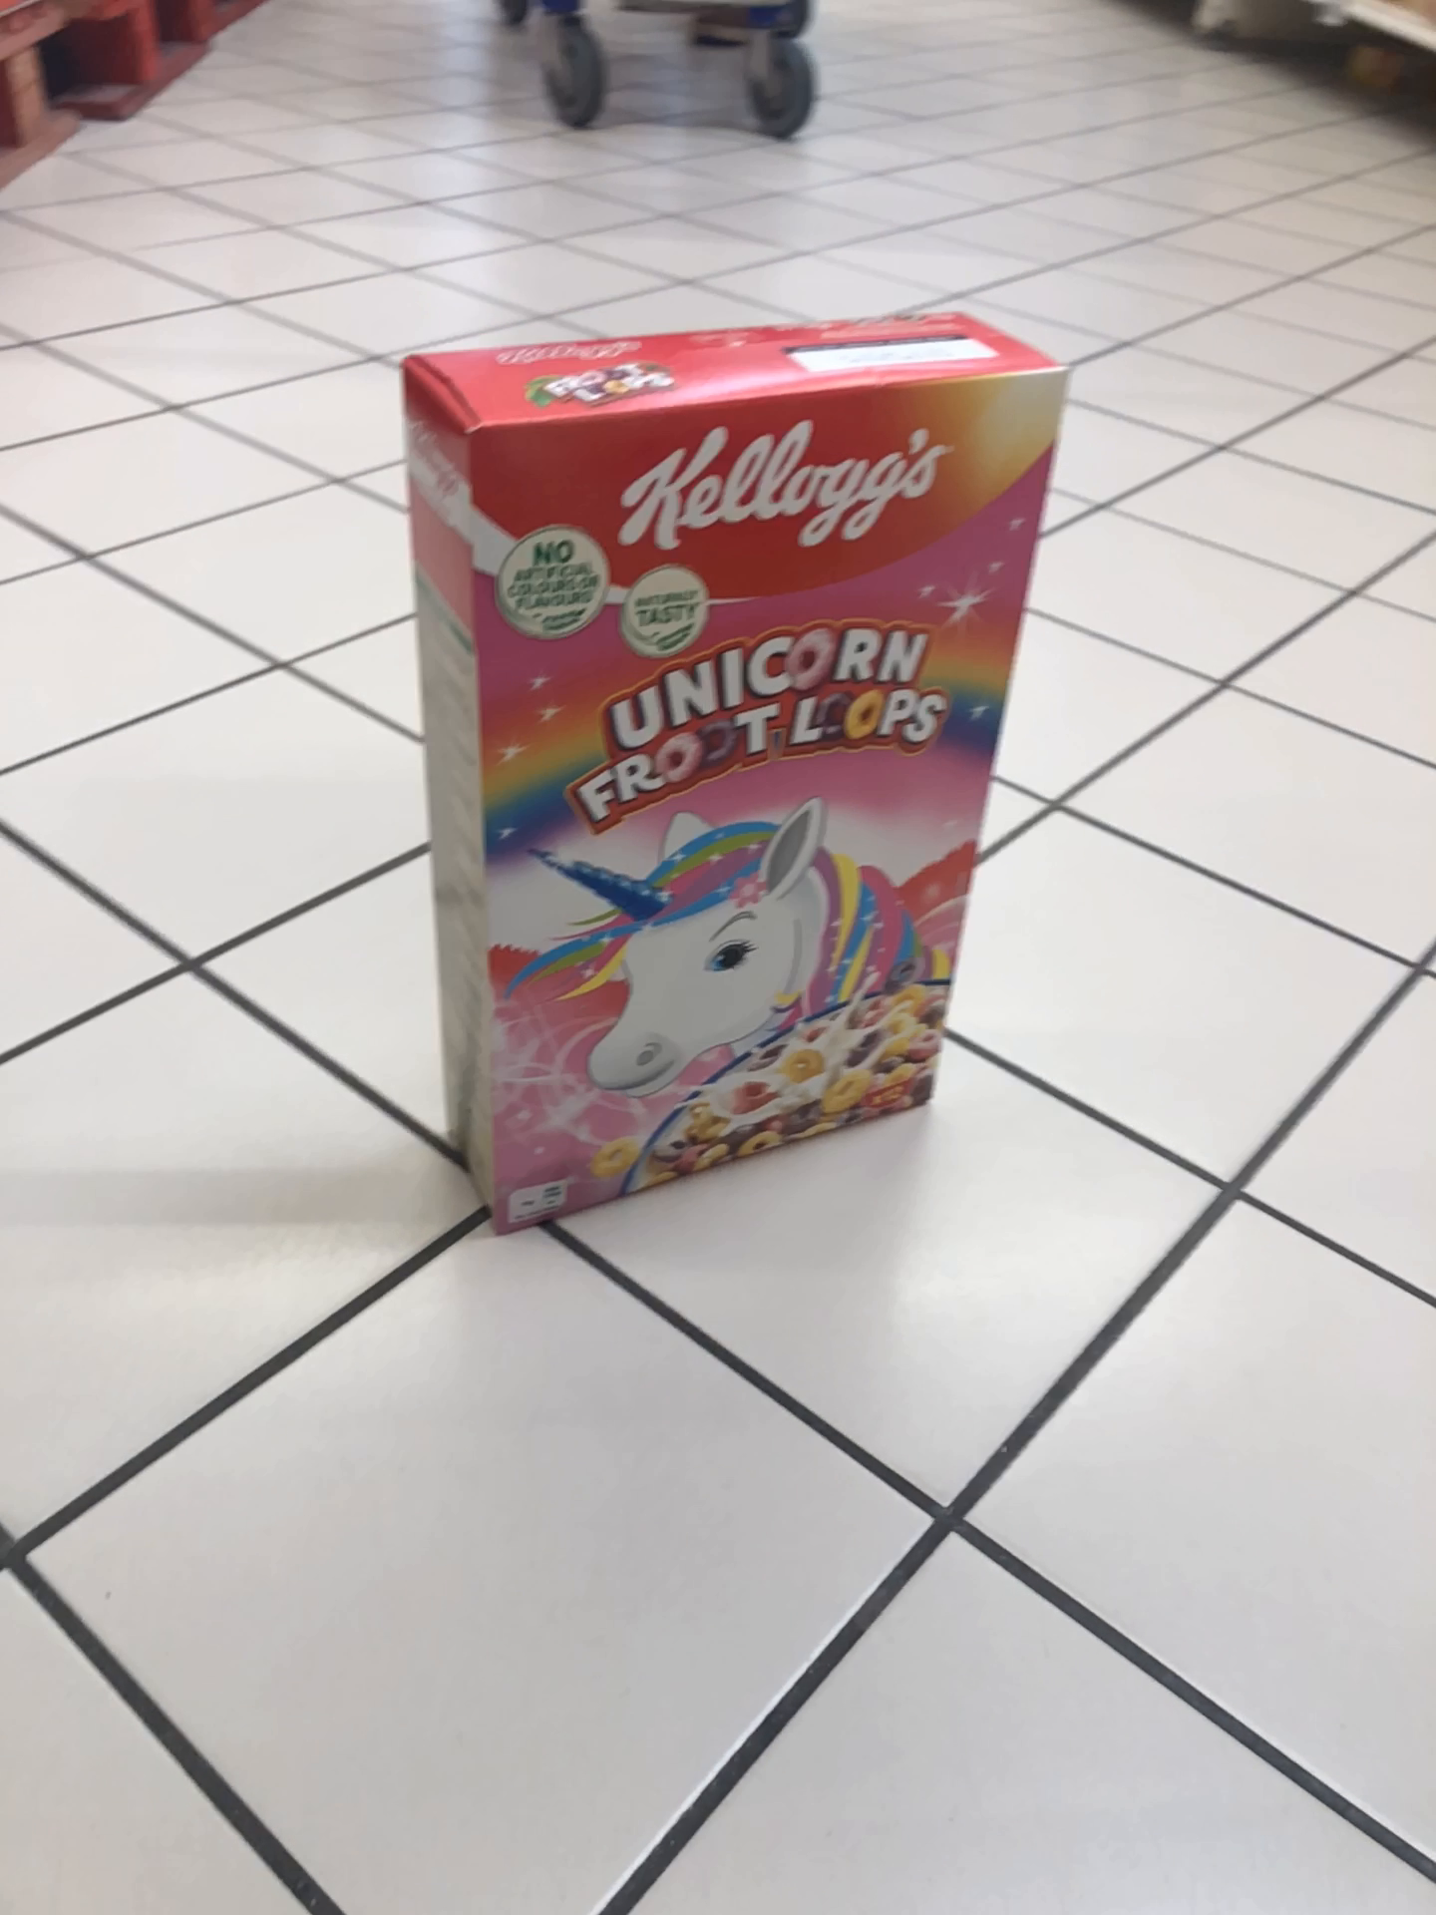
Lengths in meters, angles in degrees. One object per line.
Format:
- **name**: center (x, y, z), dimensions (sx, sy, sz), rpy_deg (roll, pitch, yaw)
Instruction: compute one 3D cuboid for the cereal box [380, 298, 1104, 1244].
- **cereal box**: center (0.000, -0.057, 0.547), dimensions (0.201, 0.298, 0.070), rpy_deg (-13, 40, -23)
